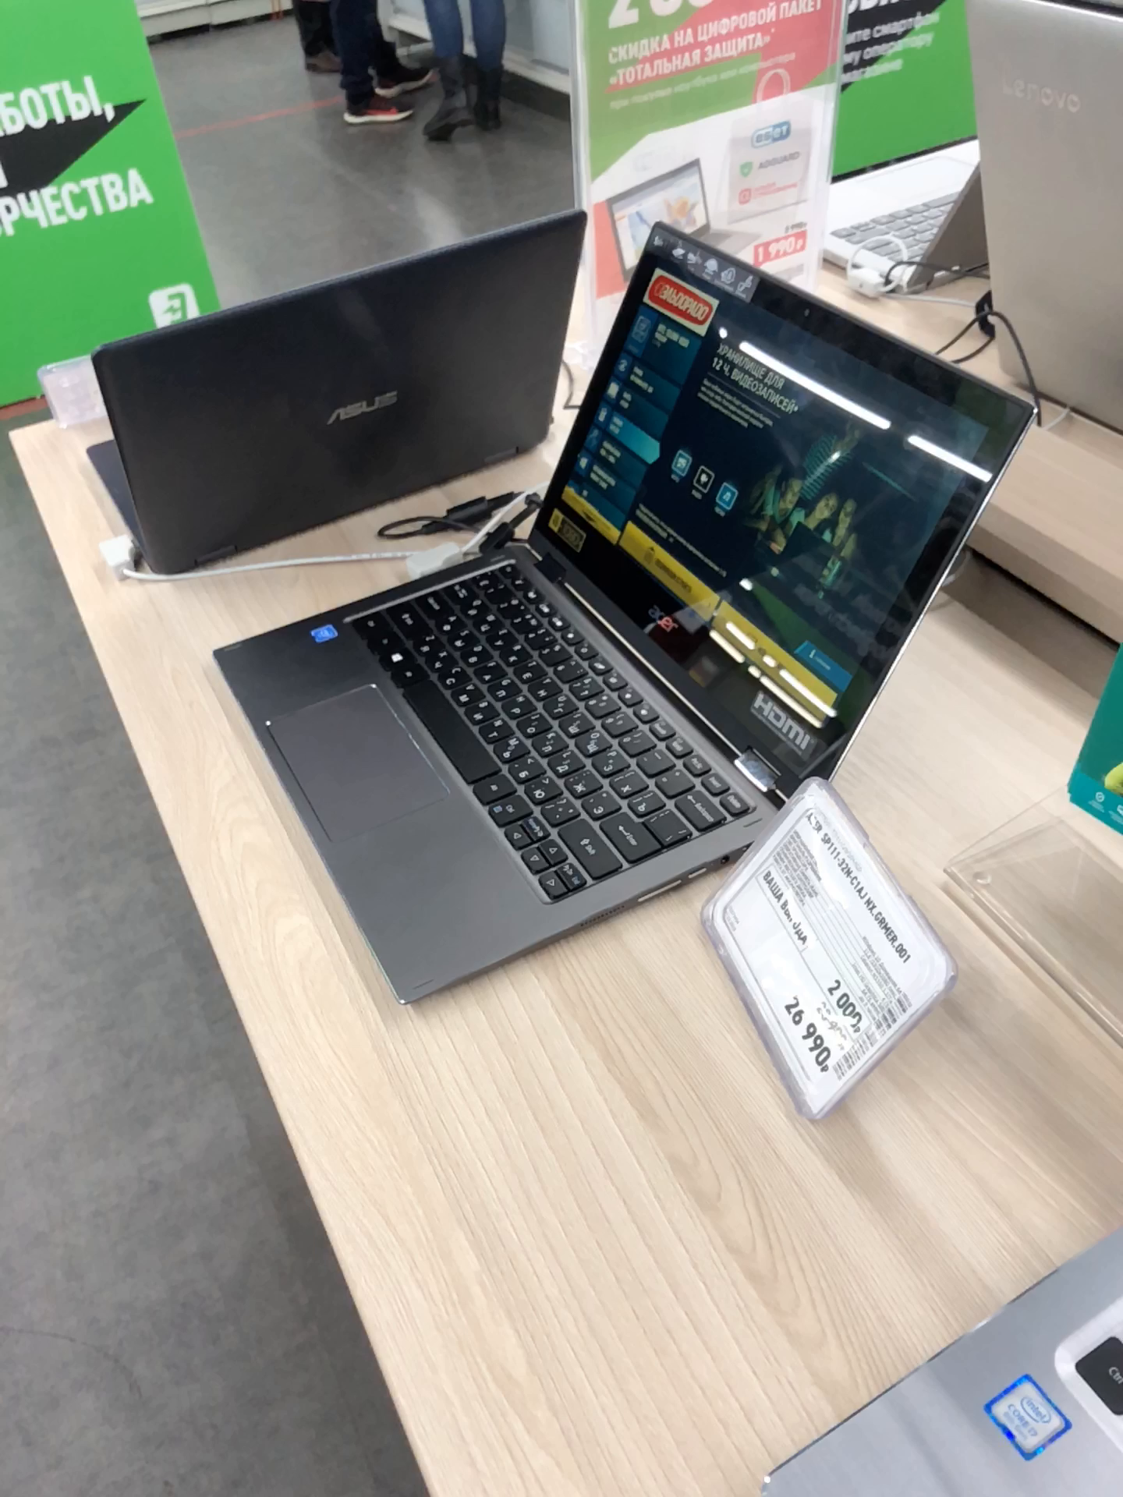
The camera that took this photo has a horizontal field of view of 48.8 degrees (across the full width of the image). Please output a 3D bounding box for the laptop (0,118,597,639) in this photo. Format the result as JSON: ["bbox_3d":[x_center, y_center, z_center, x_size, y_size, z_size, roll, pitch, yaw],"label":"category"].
[{"bbox_3d":[-0.172,-0.260,0.810,0.275,0.174,0.288,-23,43,-18],"label":"laptop"}]

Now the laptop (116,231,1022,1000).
[{"bbox_3d":[-0.008,-0.094,0.602,0.303,0.168,0.288,-22,43,-18],"label":"laptop"}]
